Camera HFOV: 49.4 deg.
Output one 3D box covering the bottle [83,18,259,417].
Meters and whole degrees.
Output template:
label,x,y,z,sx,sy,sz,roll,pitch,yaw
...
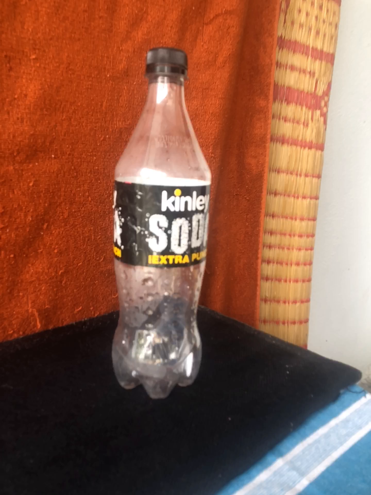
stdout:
label,x,y,z,sx,sy,sz,roll,pitch,yaw
bottle,-0.017,-0.017,0.313,0.090,0.259,0.070,-5,17,-40
